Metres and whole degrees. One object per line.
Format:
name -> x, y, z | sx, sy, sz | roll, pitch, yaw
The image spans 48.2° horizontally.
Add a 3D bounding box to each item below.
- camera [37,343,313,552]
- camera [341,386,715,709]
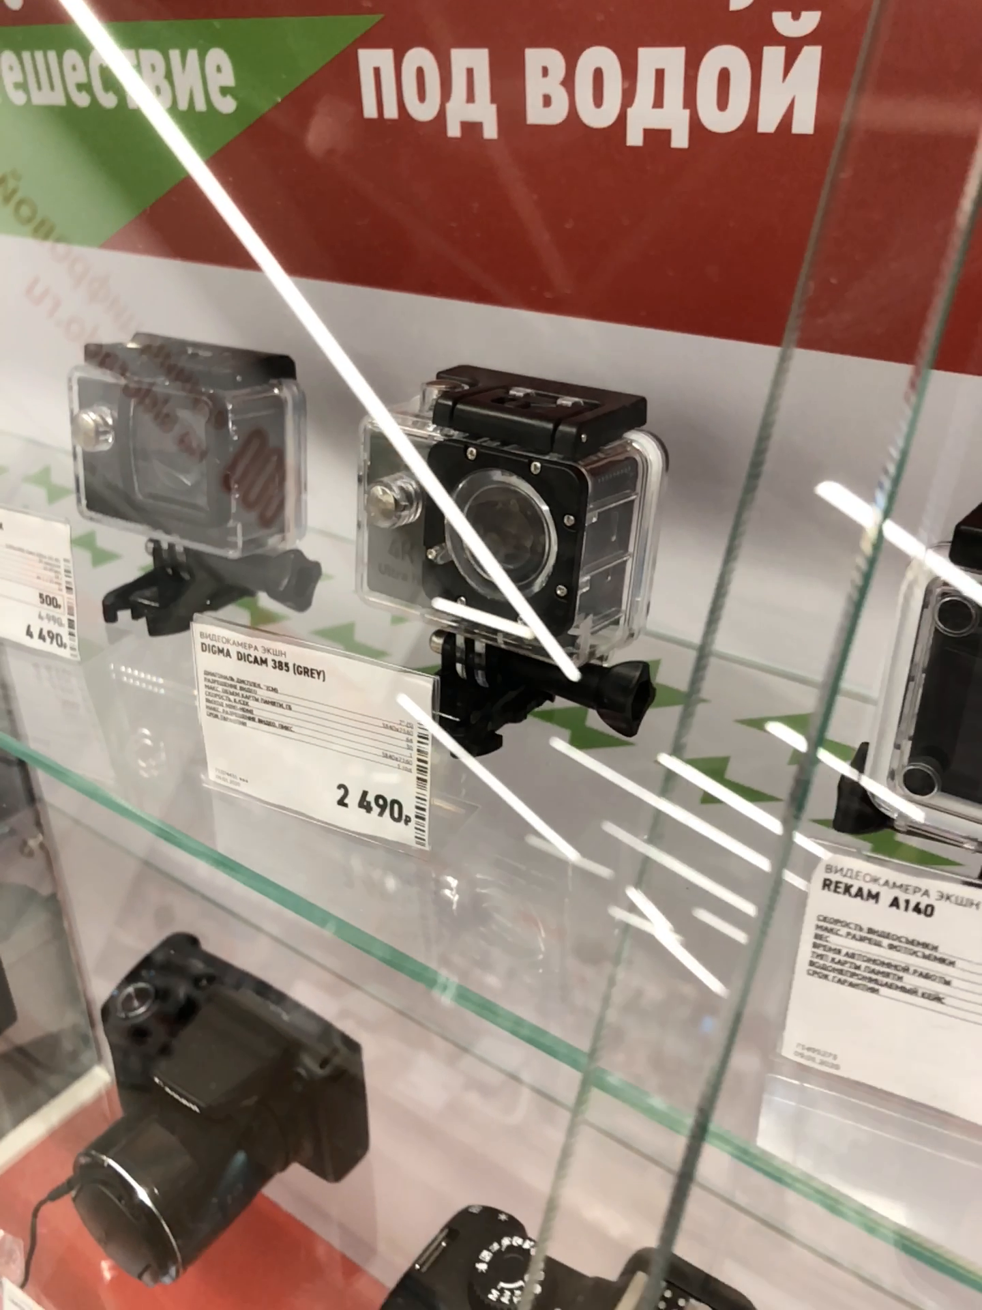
camera -> -0.092, -0.063, 0.321 | 0.072, 0.046, 0.036 | 16, 24, 27
camera -> 0.008, -0.031, 0.276 | 0.077, 0.055, 0.048 | 18, 29, 31
